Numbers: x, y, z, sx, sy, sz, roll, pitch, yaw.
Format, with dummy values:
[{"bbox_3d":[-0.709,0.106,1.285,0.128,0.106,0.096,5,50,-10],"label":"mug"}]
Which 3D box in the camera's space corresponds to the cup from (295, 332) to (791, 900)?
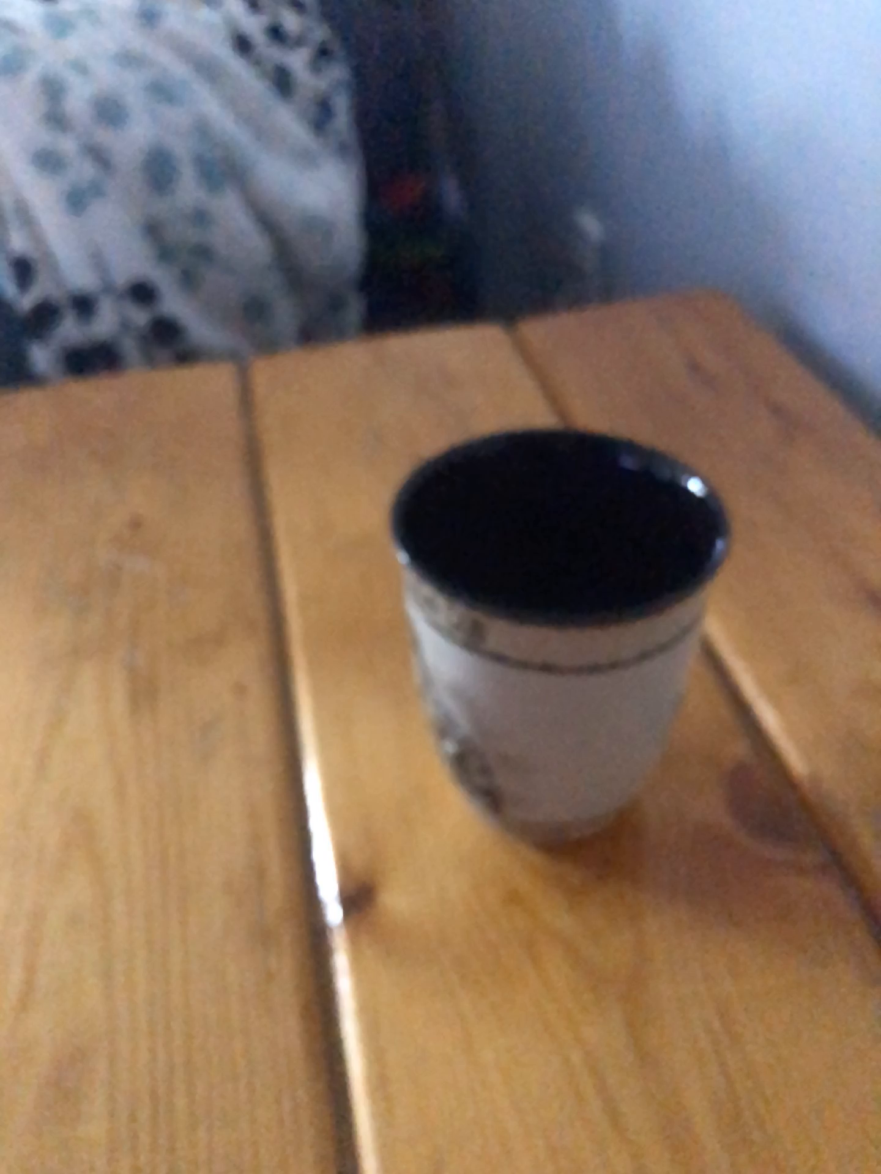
[{"bbox_3d":[0.023,0.001,0.330,0.100,0.100,0.141,-14,40,-11],"label":"cup"}]
